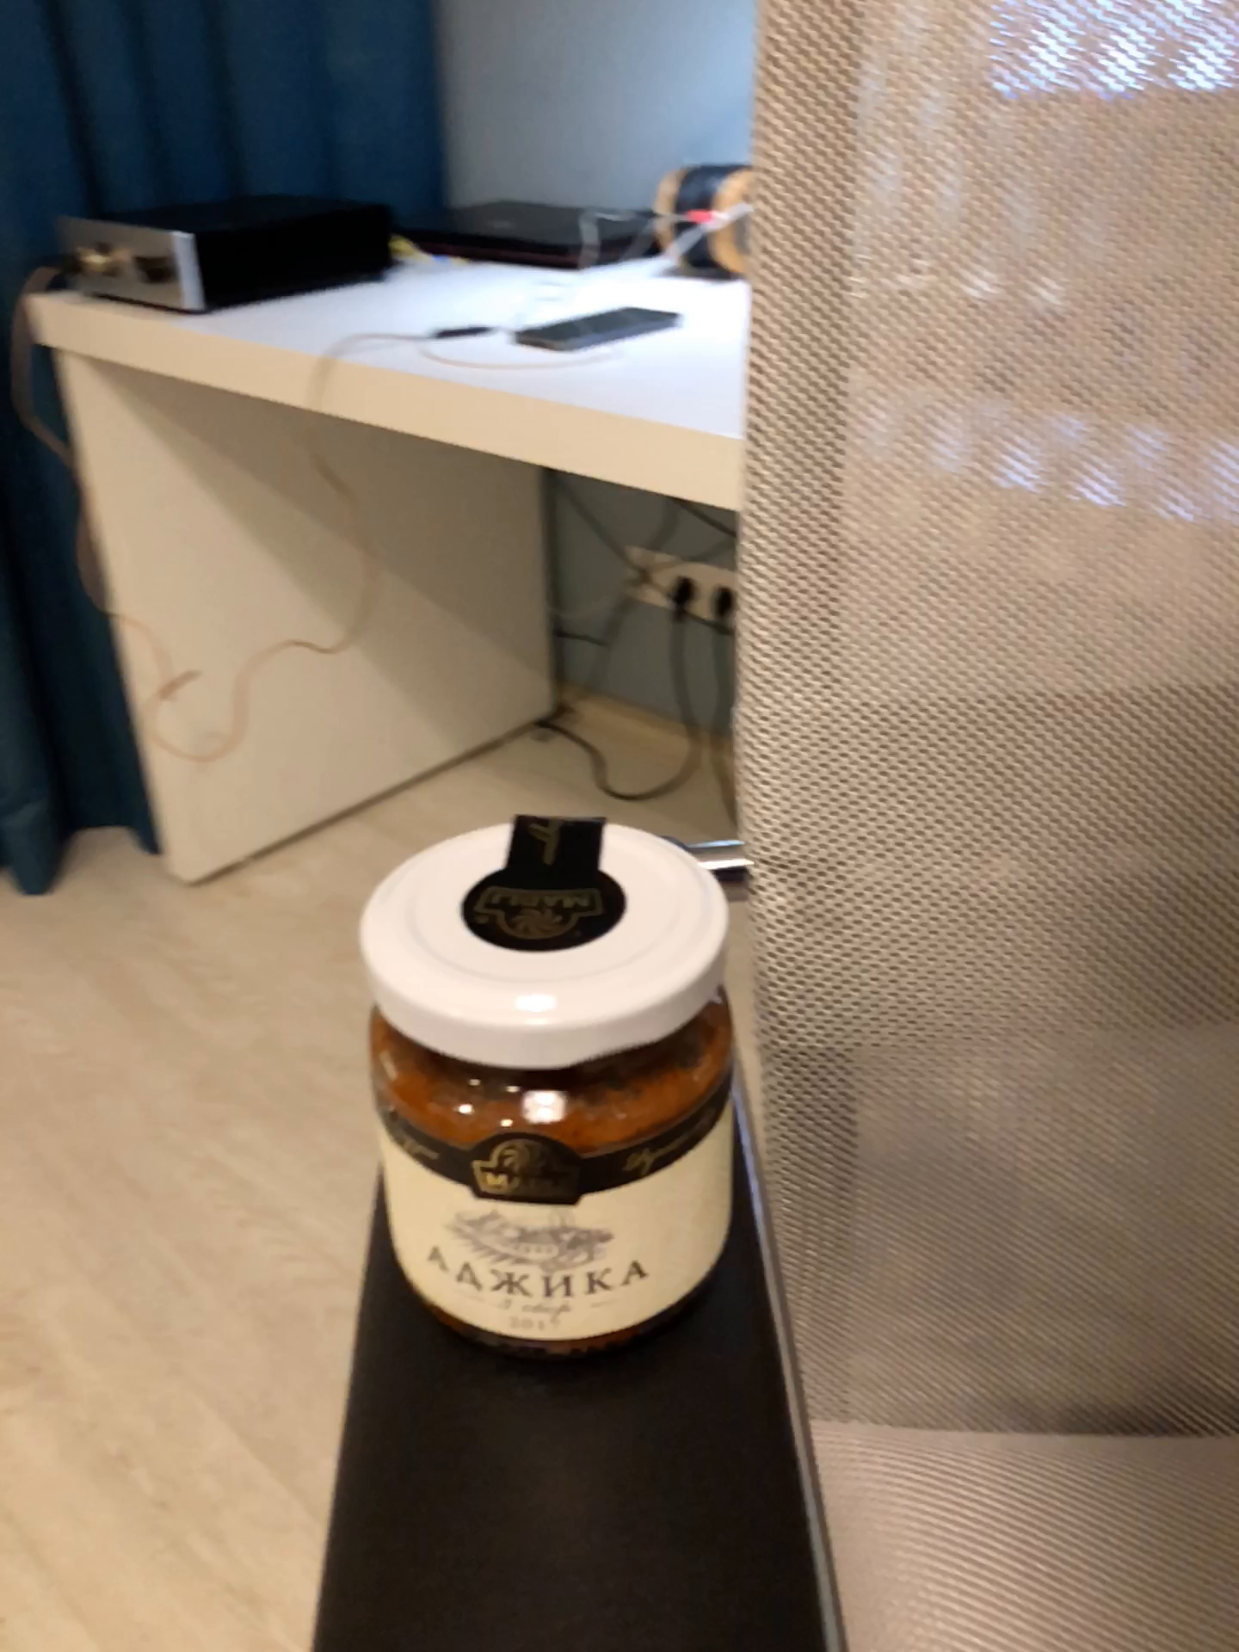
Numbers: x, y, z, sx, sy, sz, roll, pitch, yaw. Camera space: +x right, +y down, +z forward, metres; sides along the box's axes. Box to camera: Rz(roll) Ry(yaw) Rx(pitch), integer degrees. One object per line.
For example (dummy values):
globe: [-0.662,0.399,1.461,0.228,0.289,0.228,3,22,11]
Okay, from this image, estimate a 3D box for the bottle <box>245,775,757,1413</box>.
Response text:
bottle: [-0.011,0.038,0.212,0.060,0.070,0.060,3,30,10]
